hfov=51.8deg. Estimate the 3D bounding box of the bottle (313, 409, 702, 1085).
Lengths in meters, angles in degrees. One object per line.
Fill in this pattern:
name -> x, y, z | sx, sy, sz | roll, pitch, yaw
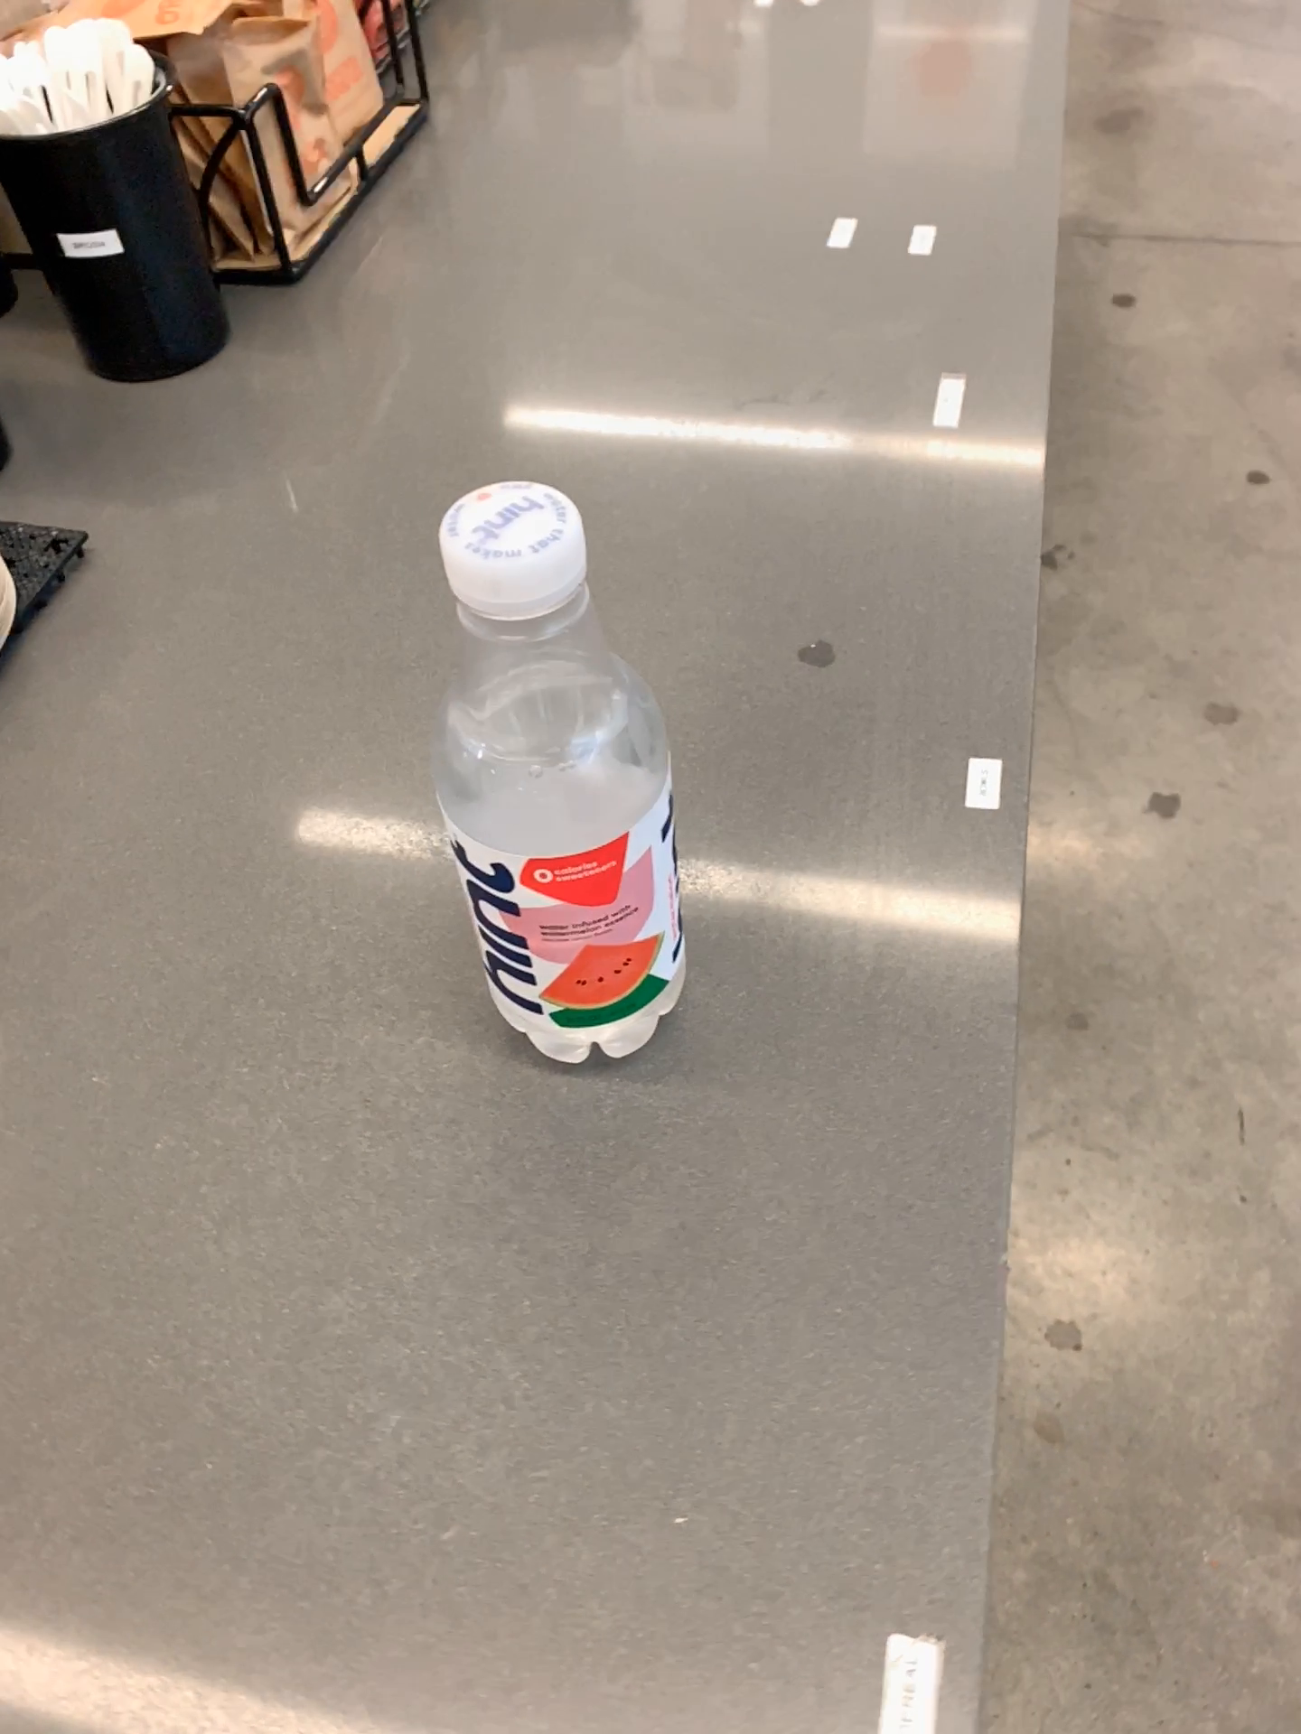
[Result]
bottle -> -0.027, -0.022, 0.385 | 0.070, 0.199, 0.070 | -2, 51, 3
